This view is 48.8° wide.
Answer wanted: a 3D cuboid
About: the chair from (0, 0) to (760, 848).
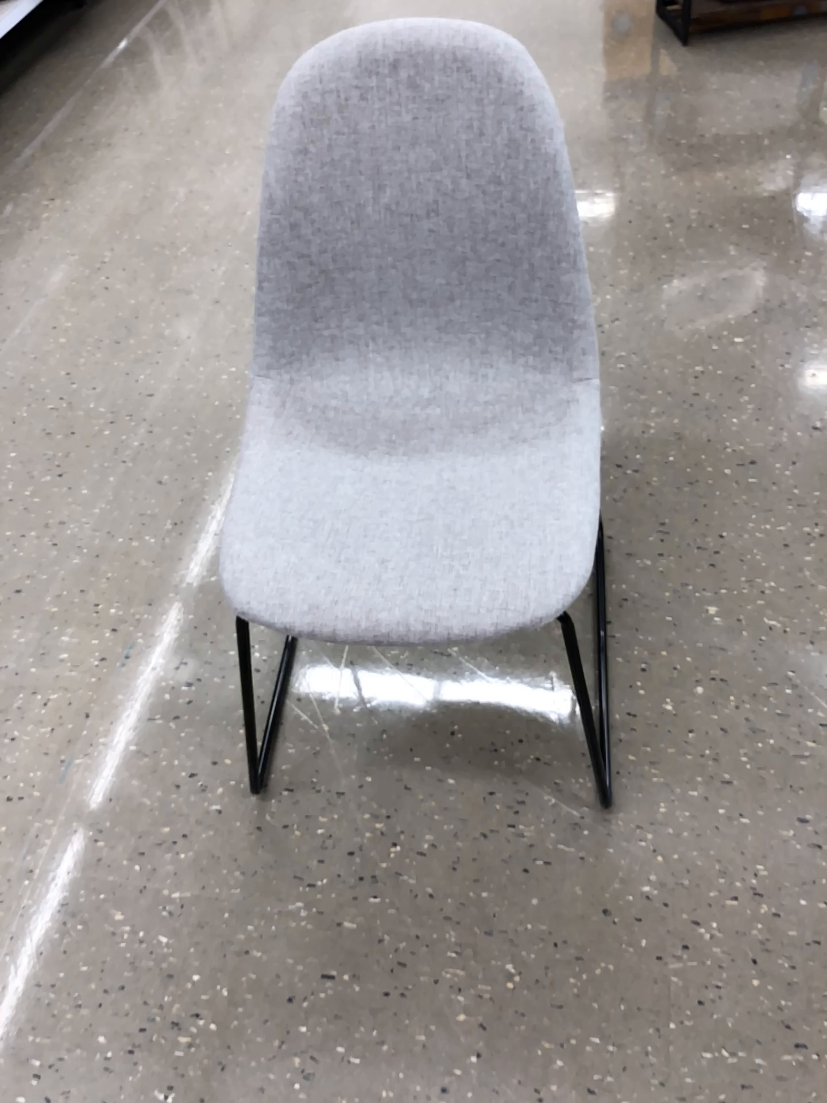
[{"bbox_3d":[-0.010,-0.099,1.083,0.590,0.778,0.582,0,50,8],"label":"chair"}]
